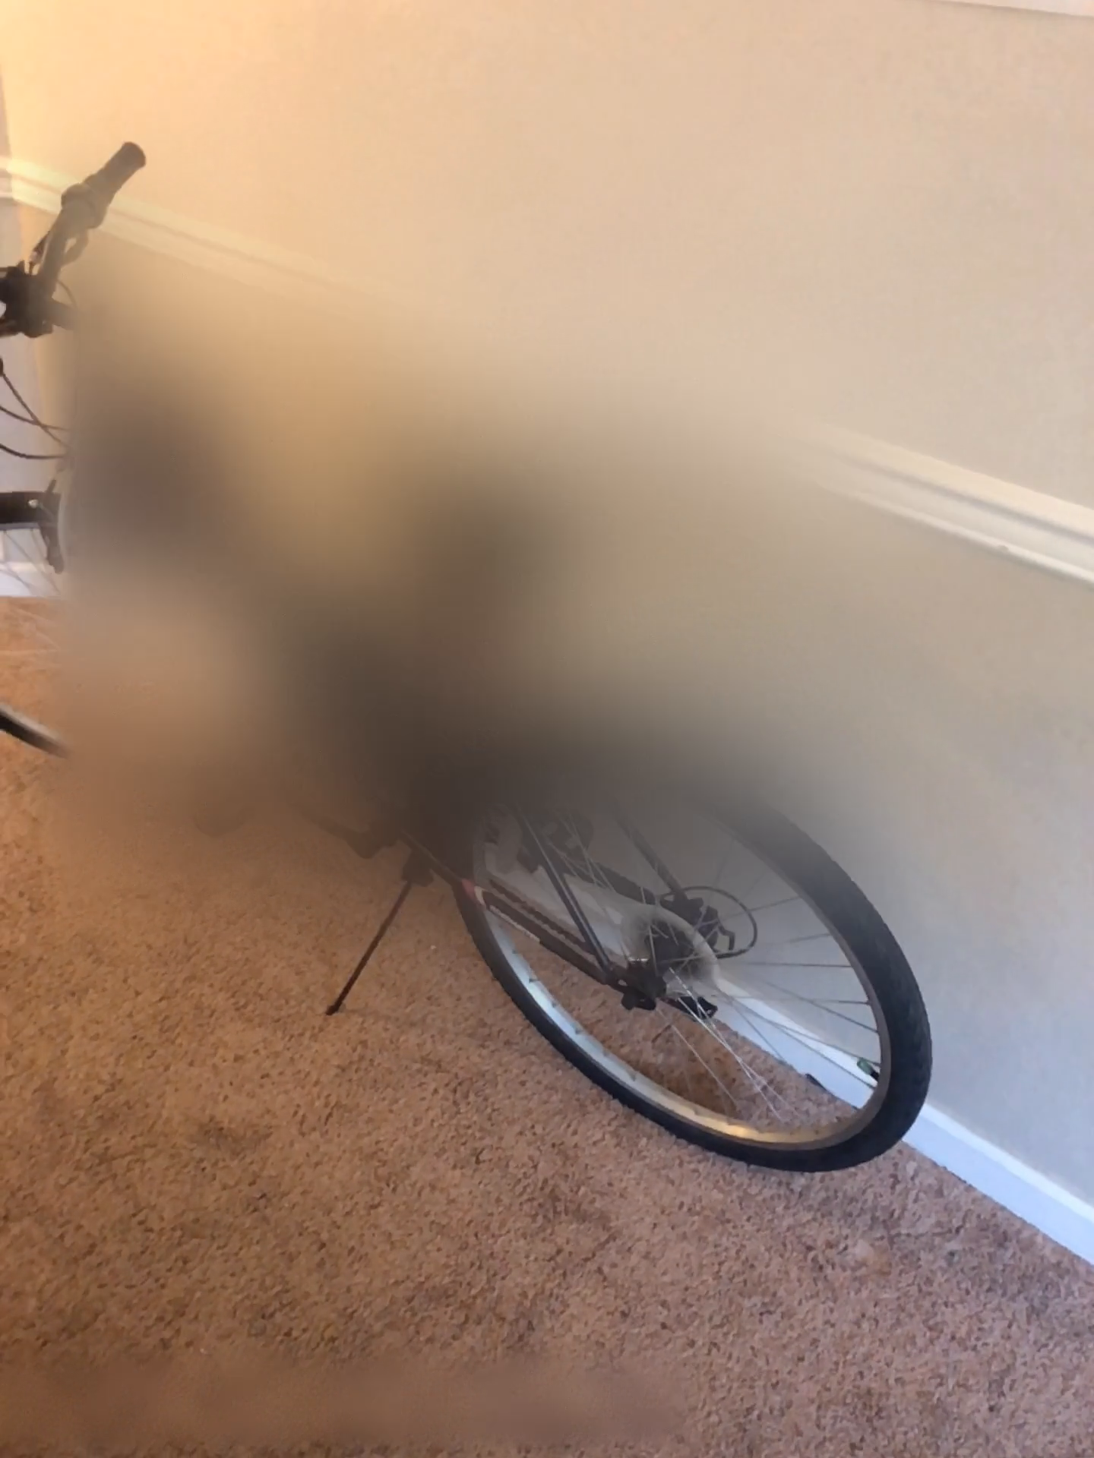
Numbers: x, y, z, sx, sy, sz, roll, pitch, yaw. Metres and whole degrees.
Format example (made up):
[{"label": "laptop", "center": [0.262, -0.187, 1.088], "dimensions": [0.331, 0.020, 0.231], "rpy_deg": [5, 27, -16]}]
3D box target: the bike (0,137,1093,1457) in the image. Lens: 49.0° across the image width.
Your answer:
[{"label": "bike", "center": [-0.364, -0.012, 1.650], "dimensions": [1.866, 1.177, 0.682], "rpy_deg": [22, 36, 23]}]
